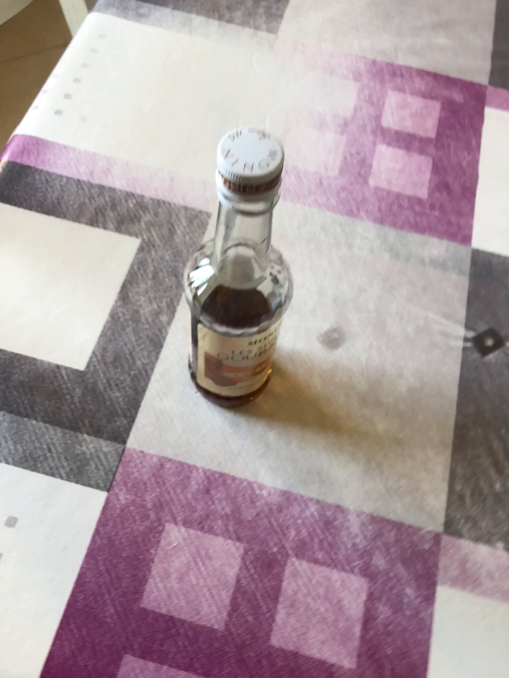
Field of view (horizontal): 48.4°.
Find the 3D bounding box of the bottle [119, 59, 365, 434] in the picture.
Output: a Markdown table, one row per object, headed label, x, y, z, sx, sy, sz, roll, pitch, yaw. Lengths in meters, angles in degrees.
| label | x | y | z | sx | sy | sz | roll | pitch | yaw |
| --- | --- | --- | --- | --- | --- | --- | --- | --- | --- |
| bottle | -0.011 | -0.026 | 0.333 | 0.070 | 0.239 | 0.070 | 2 | 64 | -3 |
